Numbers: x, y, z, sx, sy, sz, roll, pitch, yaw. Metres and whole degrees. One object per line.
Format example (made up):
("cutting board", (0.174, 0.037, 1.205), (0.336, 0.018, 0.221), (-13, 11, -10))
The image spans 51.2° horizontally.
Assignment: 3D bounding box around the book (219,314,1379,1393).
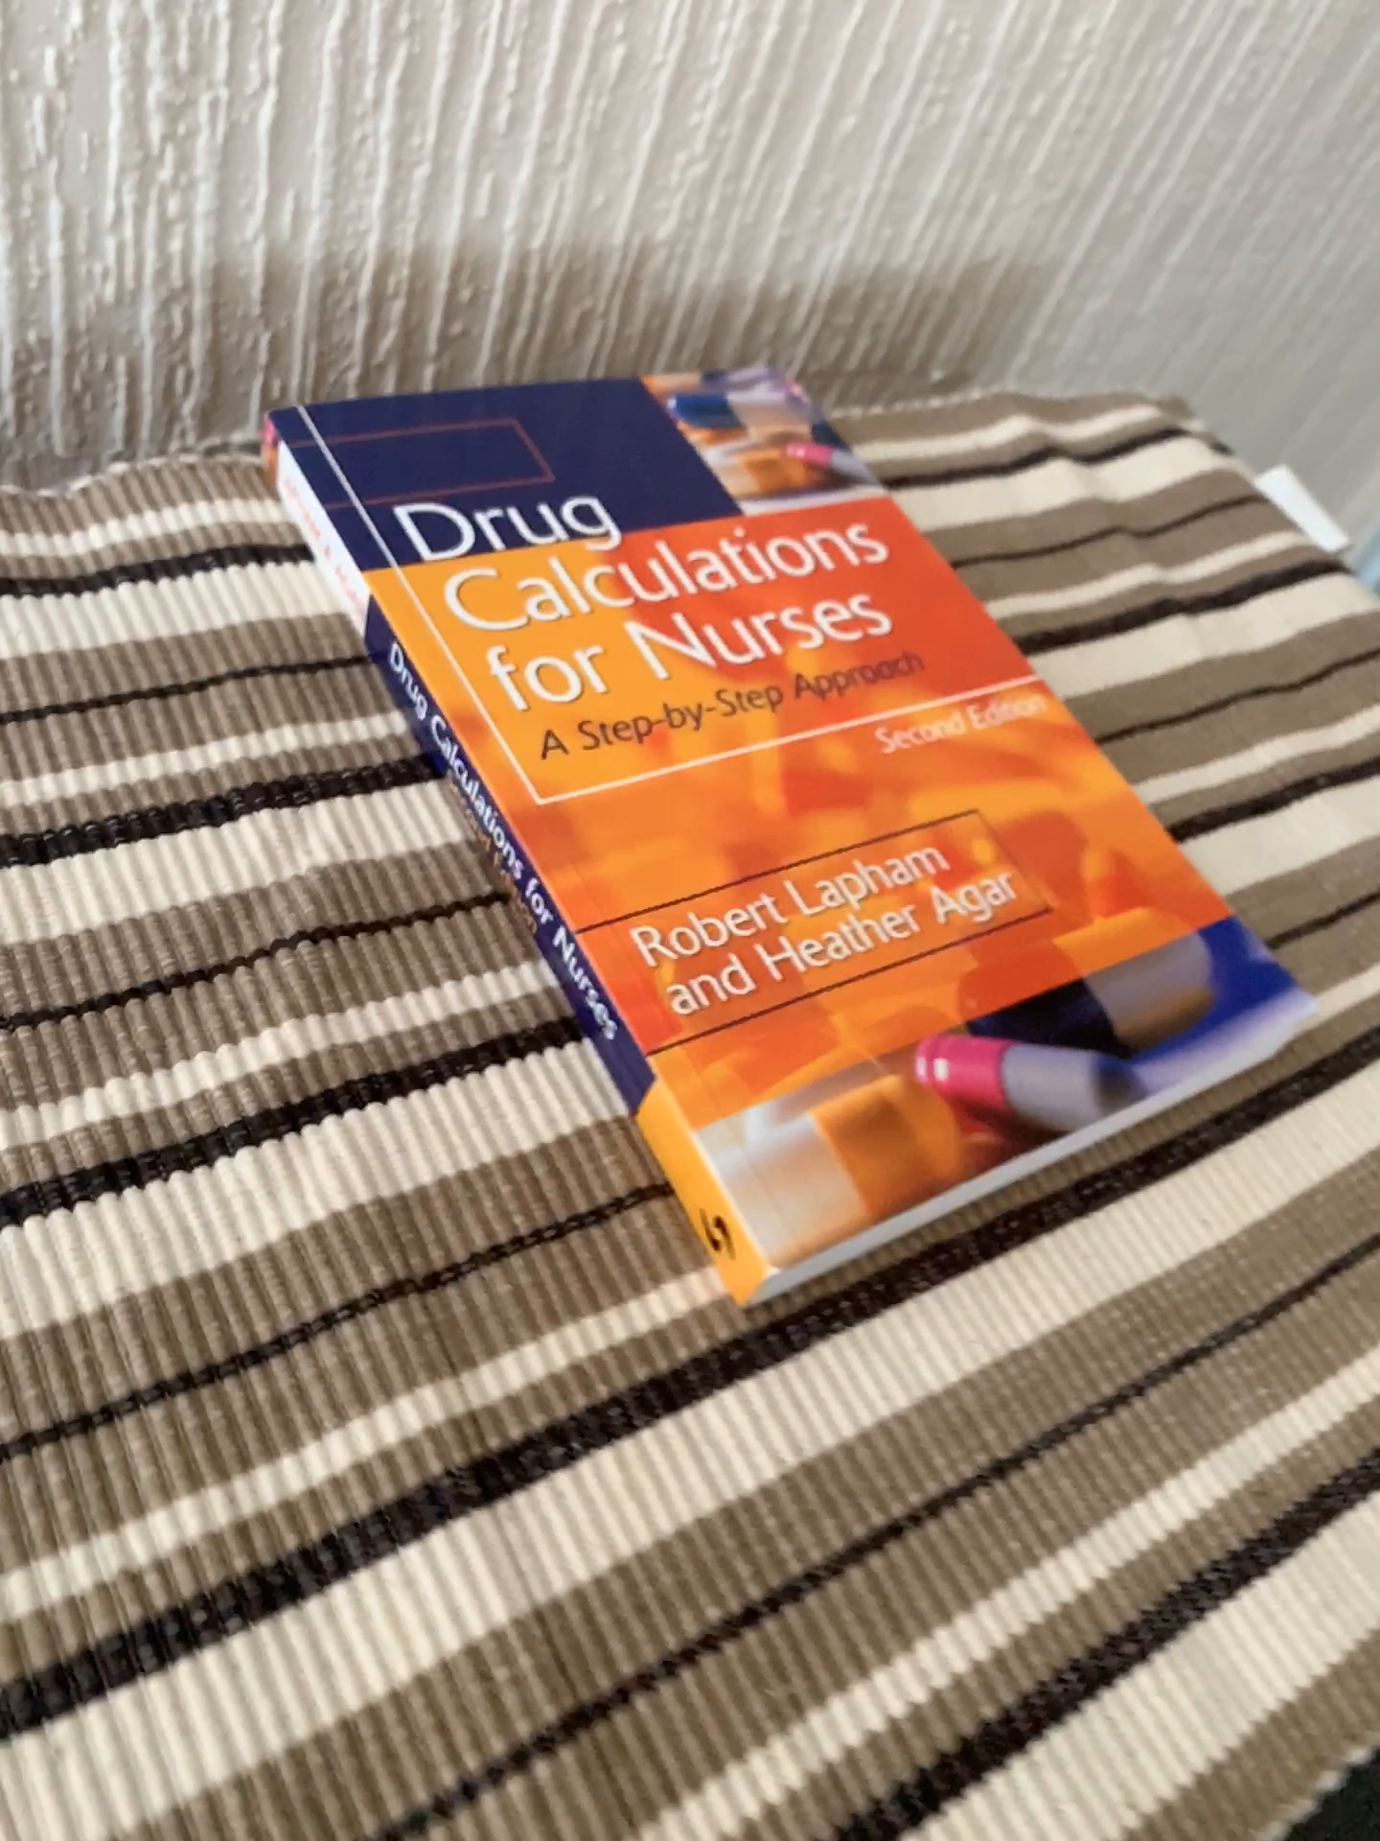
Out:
("book", (0.017, -0.041, 0.281), (0.141, 0.020, 0.221), (-17, 62, -31))
